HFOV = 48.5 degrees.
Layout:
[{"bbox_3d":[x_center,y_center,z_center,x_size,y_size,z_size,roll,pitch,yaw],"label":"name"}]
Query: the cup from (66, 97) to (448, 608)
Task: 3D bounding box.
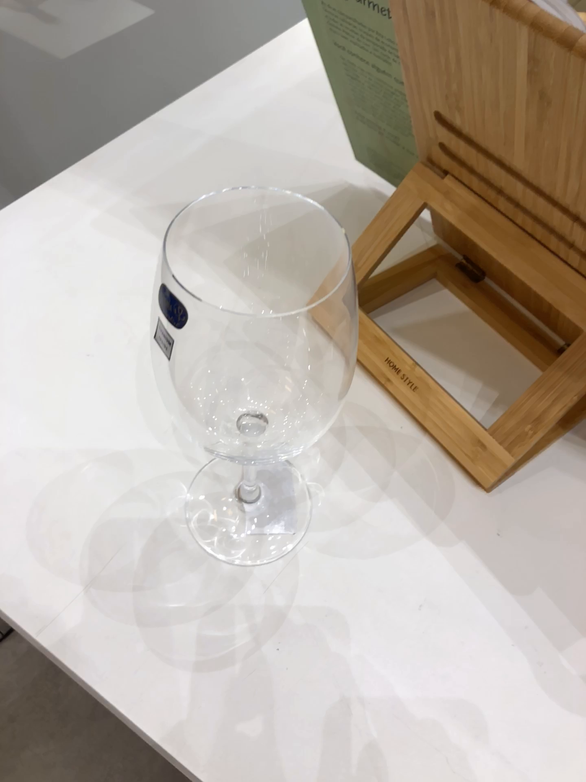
[{"bbox_3d":[-0.020,0.003,0.325,0.100,0.239,0.090,35,59,19],"label":"cup"}]
